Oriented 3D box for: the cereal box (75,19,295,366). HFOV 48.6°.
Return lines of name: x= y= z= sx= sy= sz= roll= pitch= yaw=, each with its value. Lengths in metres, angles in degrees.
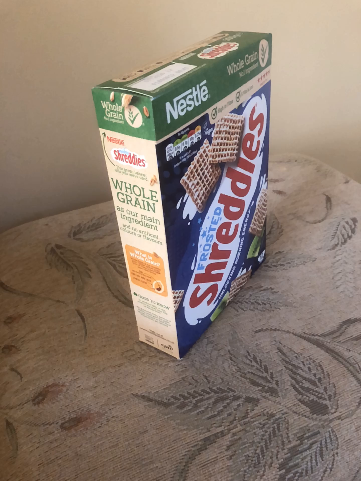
cereal box: x=0.026 y=-0.044 z=0.381 sx=0.060 sy=0.258 sz=0.201 roll=22 pitch=45 yaw=30
